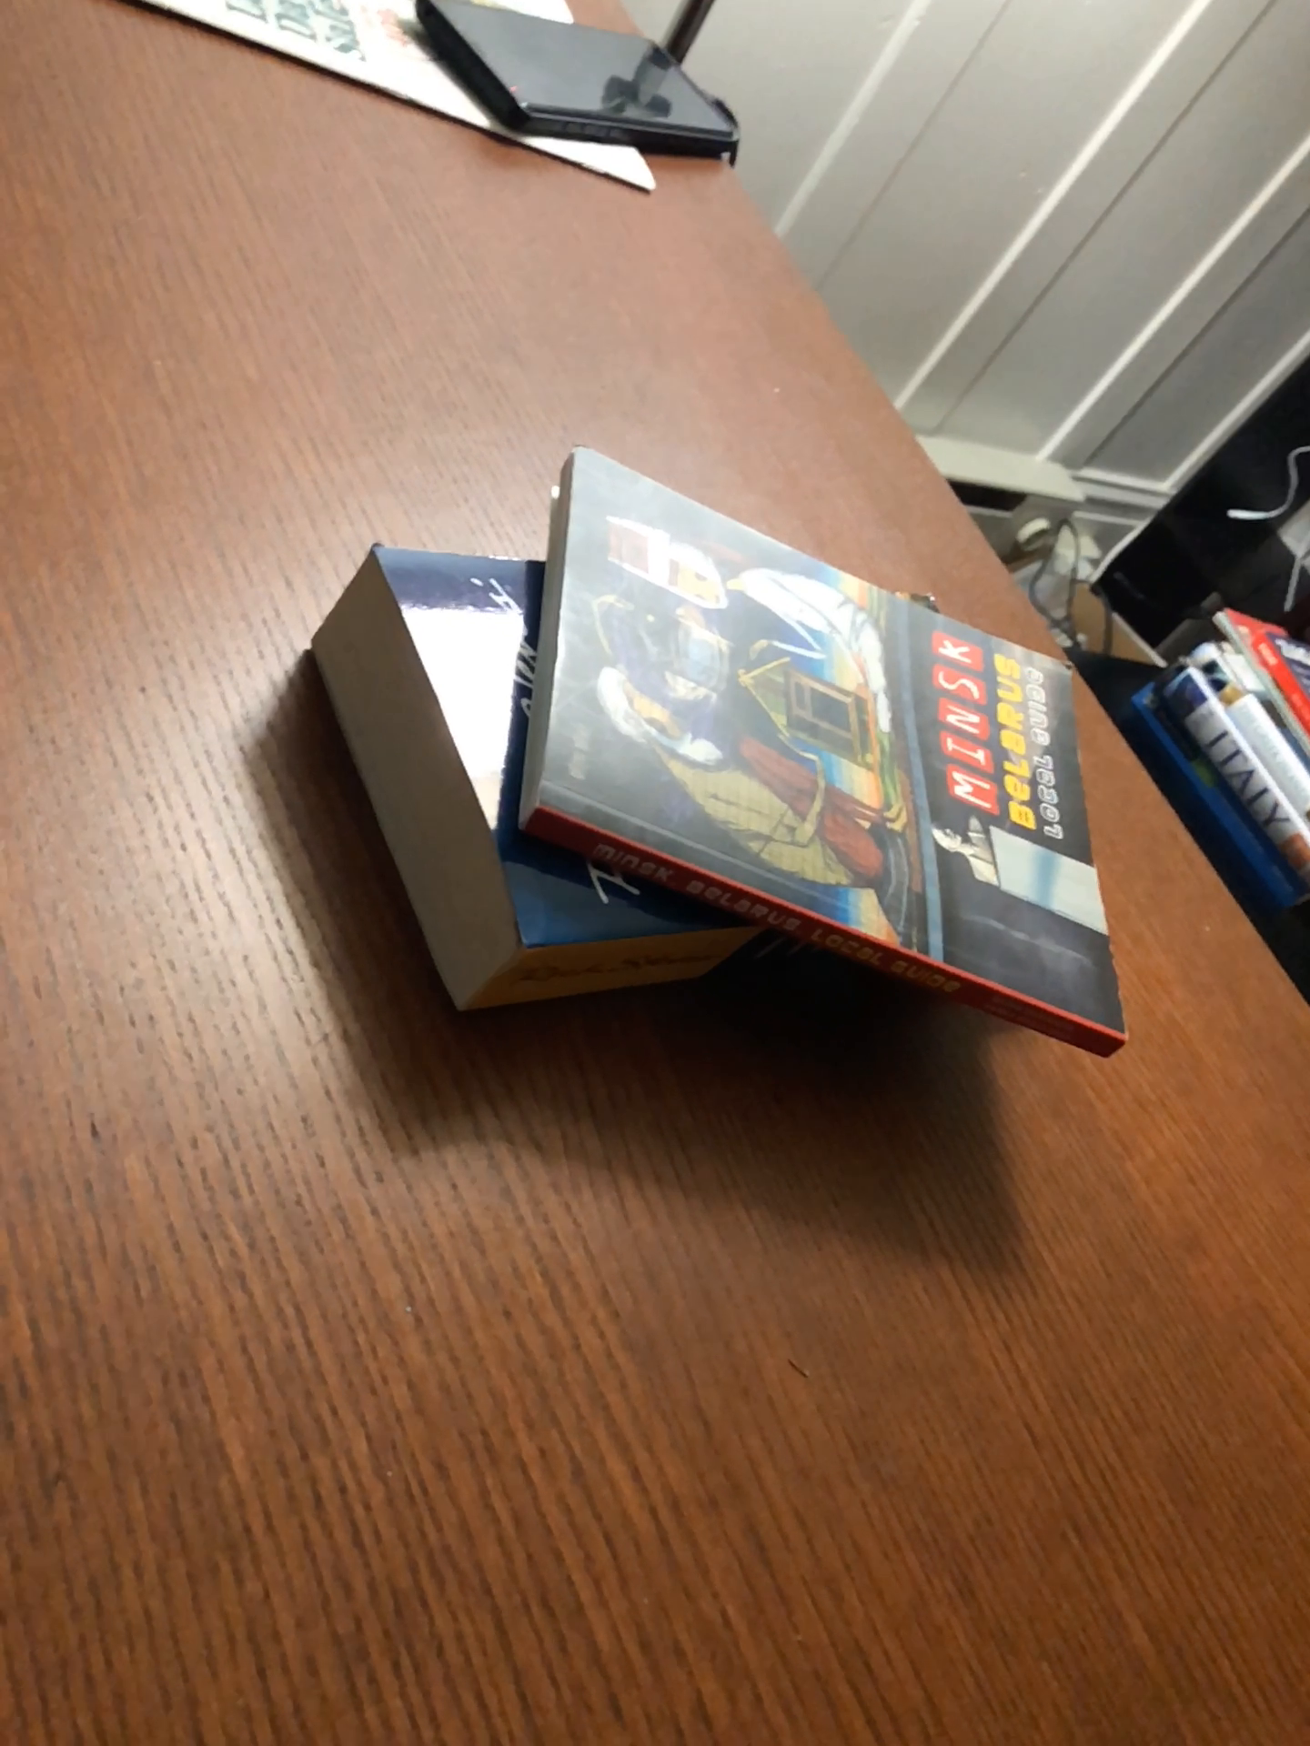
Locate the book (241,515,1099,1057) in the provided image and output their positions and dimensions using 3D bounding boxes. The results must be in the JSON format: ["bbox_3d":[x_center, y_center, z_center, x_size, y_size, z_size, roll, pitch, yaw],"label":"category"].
[{"bbox_3d":[0.012,-0.030,0.408,0.221,0.040,0.130,-4,58,-38],"label":"book"}]

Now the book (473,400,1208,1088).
[{"bbox_3d":[0.049,-0.036,0.381,0.190,0.020,0.151,19,46,-22],"label":"book"}]
